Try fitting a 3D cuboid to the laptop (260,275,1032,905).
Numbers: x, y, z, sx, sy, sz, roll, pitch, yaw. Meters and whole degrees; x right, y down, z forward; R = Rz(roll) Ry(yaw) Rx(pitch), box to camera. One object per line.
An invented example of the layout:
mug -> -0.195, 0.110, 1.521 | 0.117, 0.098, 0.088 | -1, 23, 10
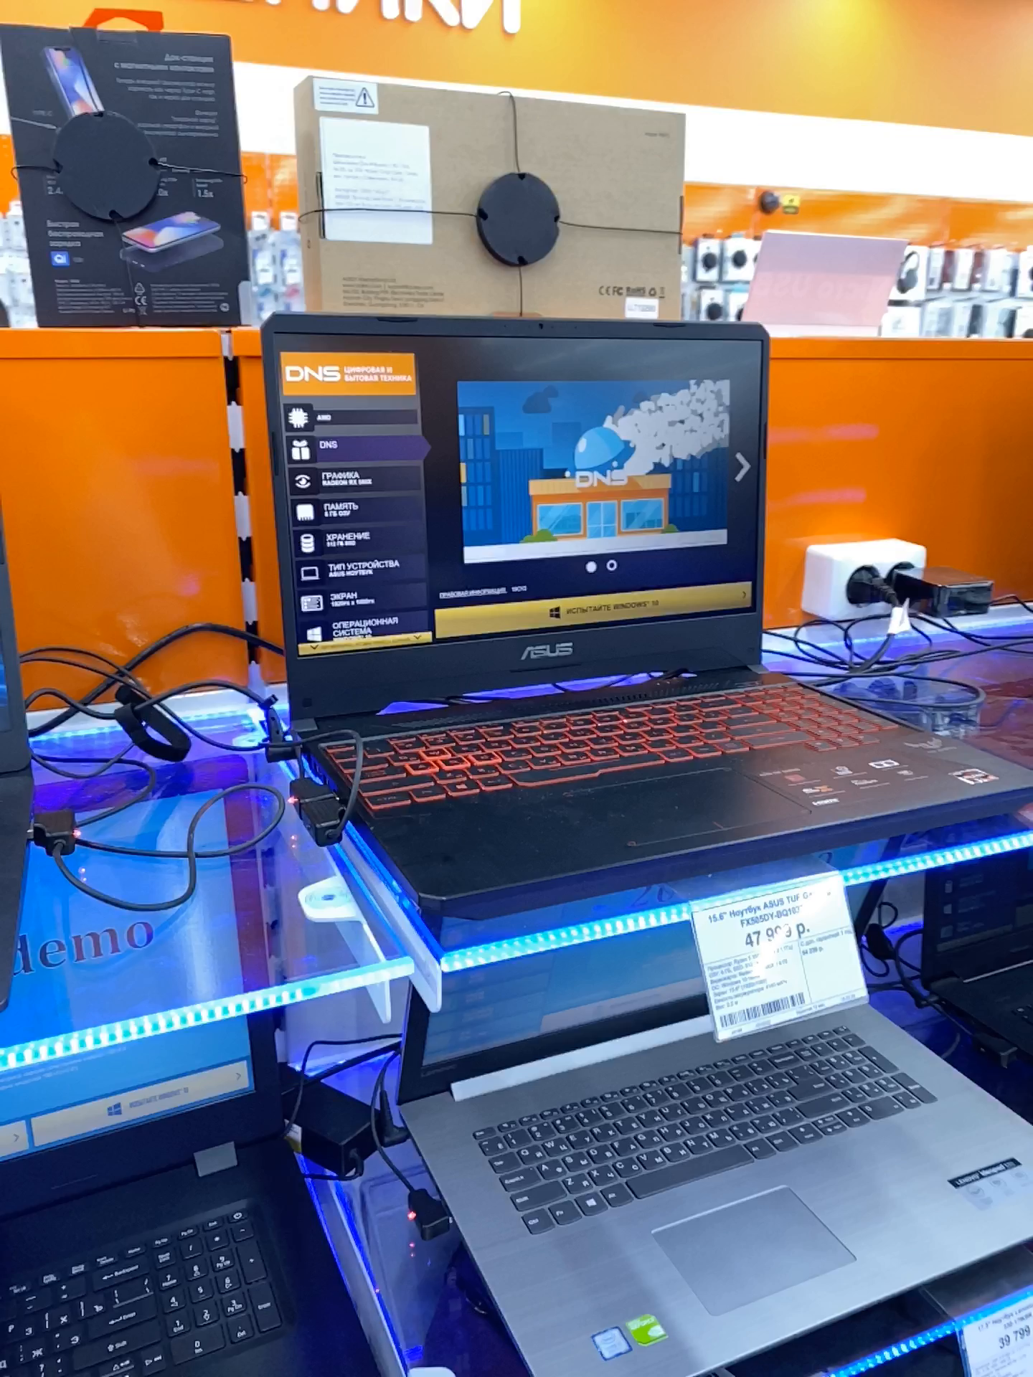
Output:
laptop -> 0.071, -0.083, 0.606 | 0.359, 0.248, 0.287 | -6, 16, -23
